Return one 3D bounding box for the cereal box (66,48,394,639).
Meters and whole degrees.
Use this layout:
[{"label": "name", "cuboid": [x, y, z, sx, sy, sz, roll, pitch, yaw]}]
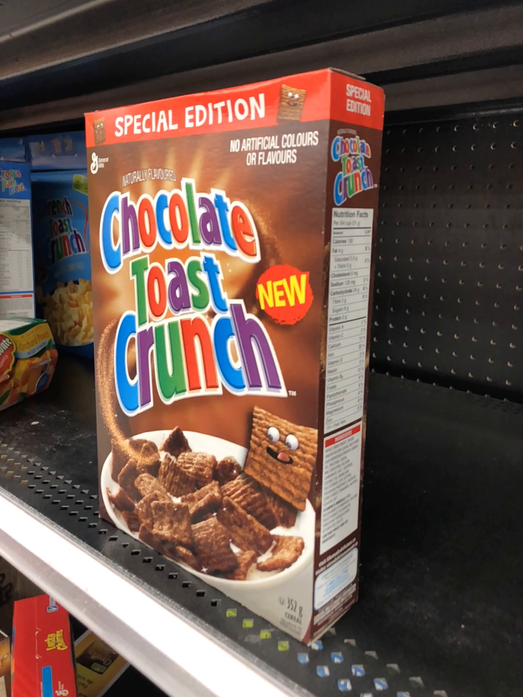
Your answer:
[{"label": "cereal box", "cuboid": [-0.033, -0.008, 0.340, 0.200, 0.269, 0.050, 12, 16, 40]}]
